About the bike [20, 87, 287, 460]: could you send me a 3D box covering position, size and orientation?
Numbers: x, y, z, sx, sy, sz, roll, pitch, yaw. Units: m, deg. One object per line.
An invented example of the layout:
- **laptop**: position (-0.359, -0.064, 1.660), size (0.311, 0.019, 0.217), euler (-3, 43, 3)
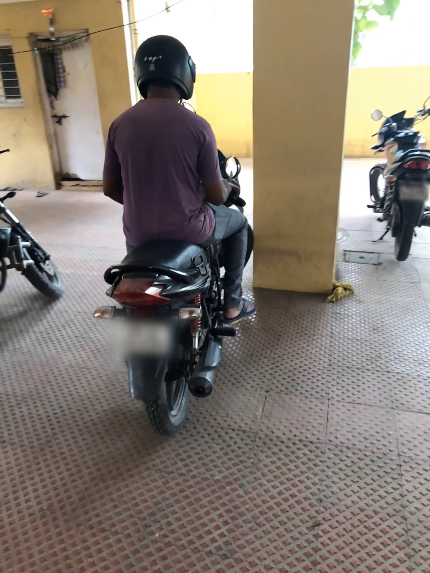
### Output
- **bike**: position (-0.096, -0.257, 2.390), size (0.632, 1.063, 1.654), euler (5, 31, 15)
